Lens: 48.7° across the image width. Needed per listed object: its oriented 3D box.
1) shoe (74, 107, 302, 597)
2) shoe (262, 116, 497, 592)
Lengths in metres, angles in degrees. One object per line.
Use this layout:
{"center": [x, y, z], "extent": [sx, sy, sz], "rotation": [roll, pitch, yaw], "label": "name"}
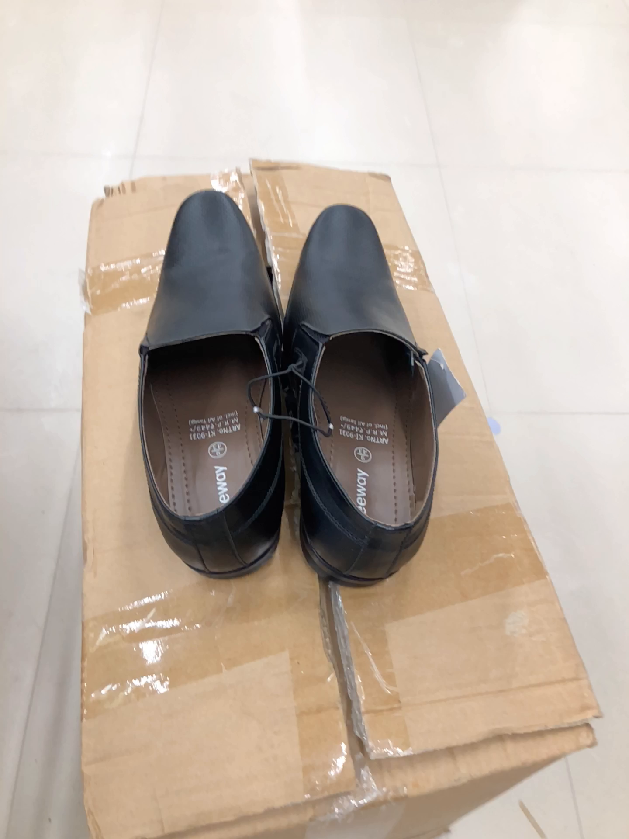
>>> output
{"center": [-0.075, -0.062, 0.455], "extent": [0.100, 0.099, 0.322], "rotation": [-6, 56, -1], "label": "shoe"}
{"center": [0.023, -0.059, 0.462], "extent": [0.100, 0.099, 0.322], "rotation": [1, 55, -8], "label": "shoe"}
